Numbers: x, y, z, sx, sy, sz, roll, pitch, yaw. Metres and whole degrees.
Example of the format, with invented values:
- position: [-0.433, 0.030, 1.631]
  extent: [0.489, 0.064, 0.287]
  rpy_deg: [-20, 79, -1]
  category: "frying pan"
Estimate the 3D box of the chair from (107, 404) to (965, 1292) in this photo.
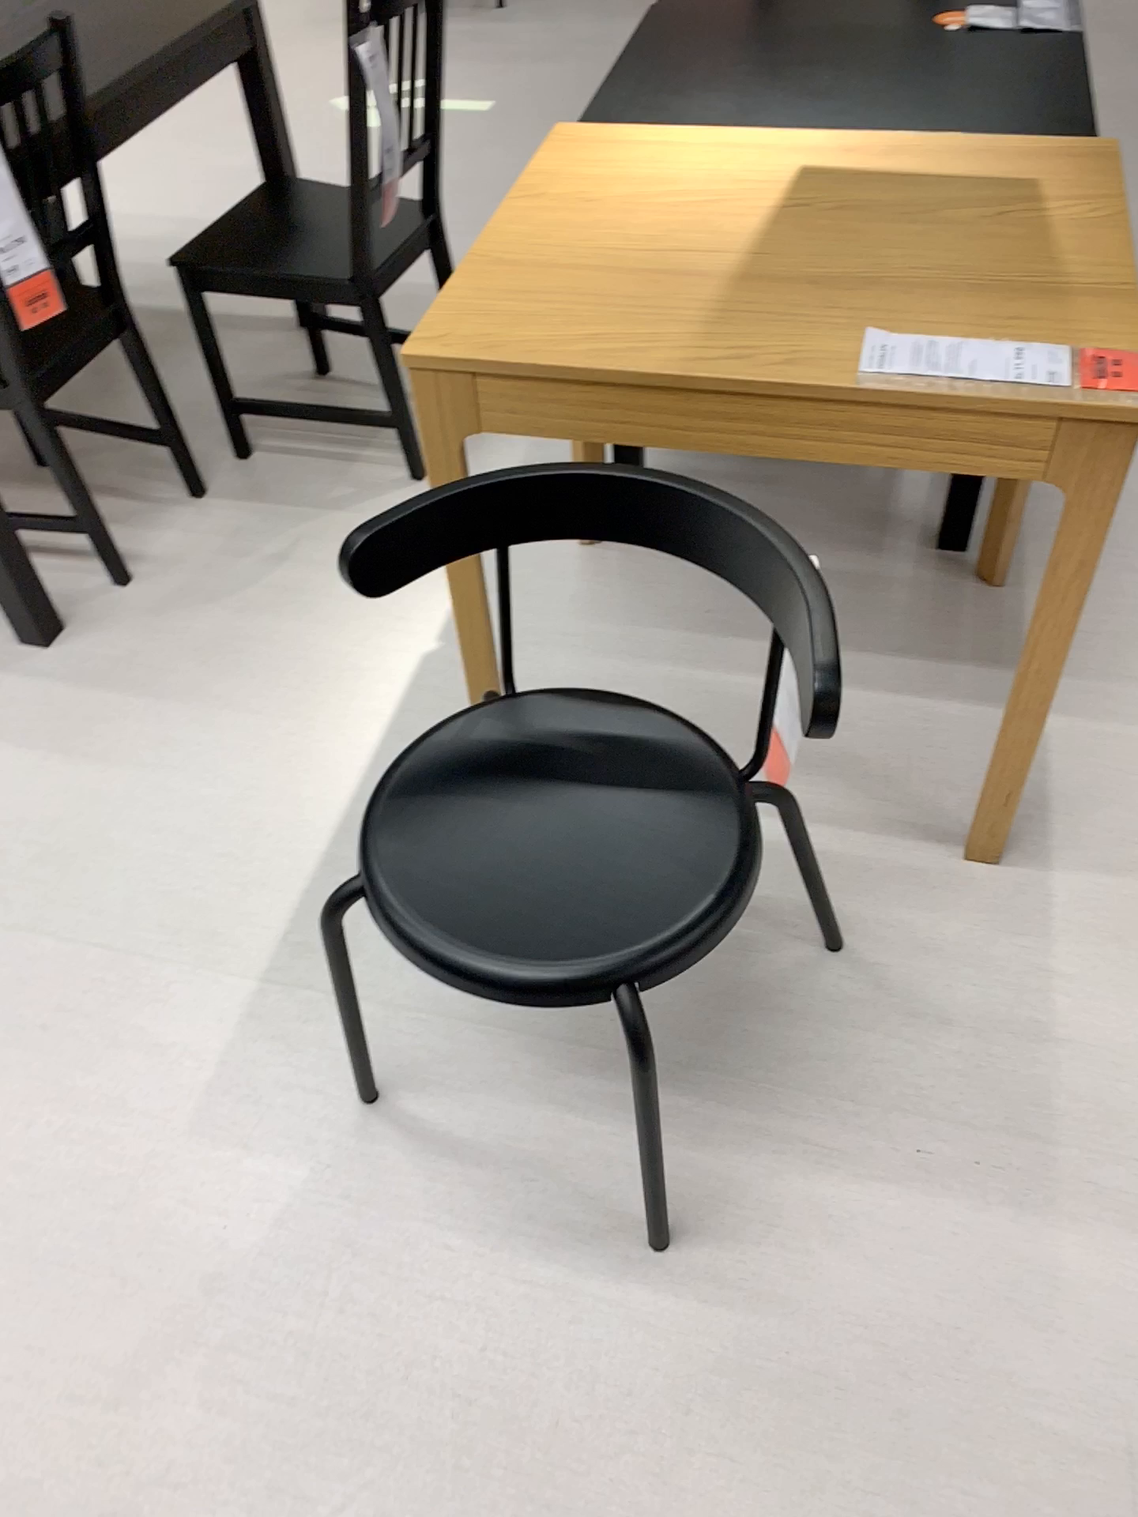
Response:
- position: [0.013, 0.078, 1.317]
  extent: [0.591, 0.598, 0.611]
  rpy_deg: [20, 52, 21]
  category: "chair"
